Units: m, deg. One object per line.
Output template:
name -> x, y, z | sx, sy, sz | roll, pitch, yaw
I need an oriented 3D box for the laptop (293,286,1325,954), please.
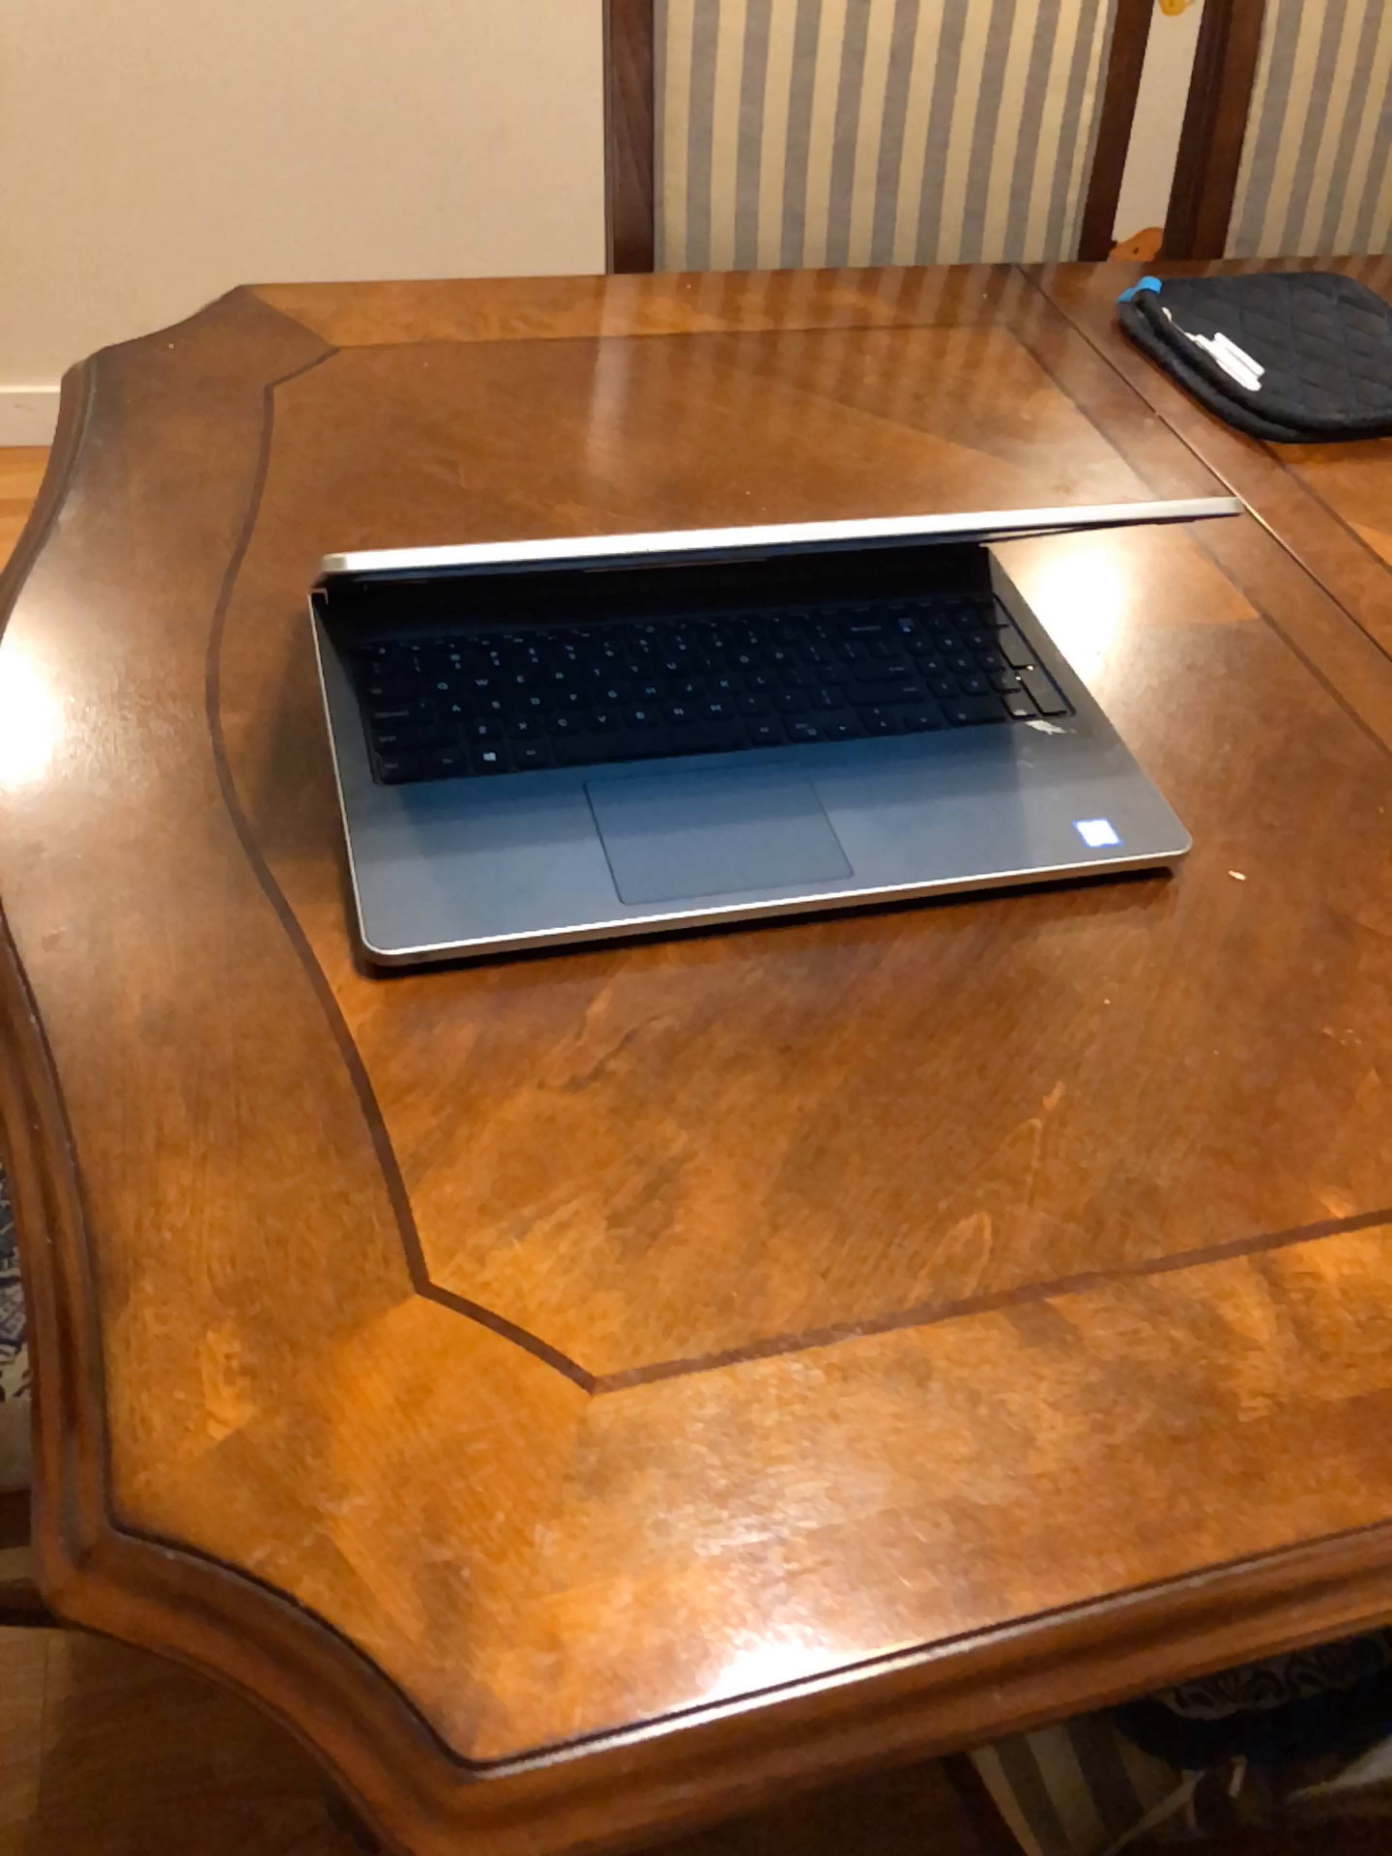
laptop -> 0.026, -0.151, 0.670 | 0.363, 0.147, 0.246 | -7, 47, -13
